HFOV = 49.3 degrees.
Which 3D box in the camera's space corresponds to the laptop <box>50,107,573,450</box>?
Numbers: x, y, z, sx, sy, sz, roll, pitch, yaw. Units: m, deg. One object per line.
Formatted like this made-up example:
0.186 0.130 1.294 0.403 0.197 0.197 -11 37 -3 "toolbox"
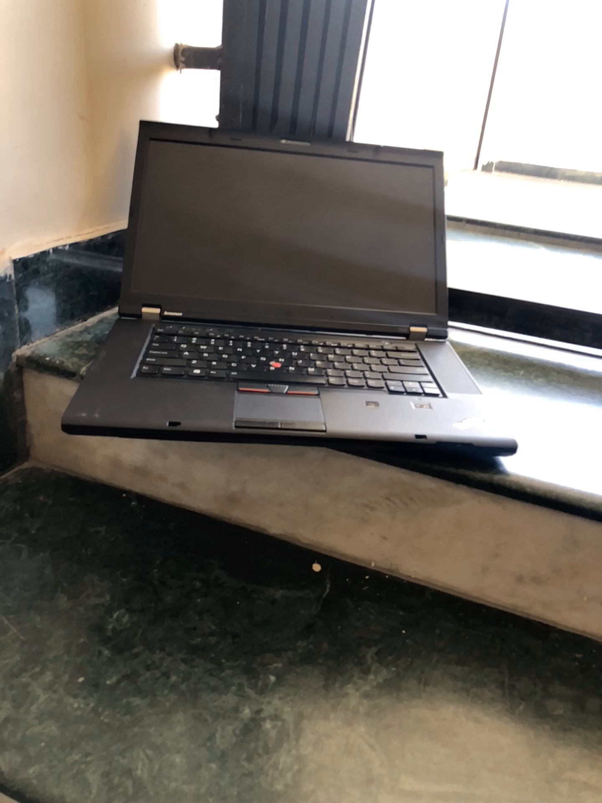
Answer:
-0.005 -0.153 0.650 0.359 0.181 0.390 4 28 -6 "laptop"
